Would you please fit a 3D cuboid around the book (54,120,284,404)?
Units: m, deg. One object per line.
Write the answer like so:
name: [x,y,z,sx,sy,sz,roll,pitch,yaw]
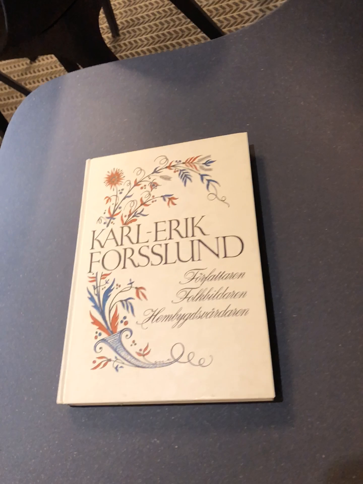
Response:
book: [-0.011,0.010,0.342,0.164,0.028,0.232,-7,63,14]
